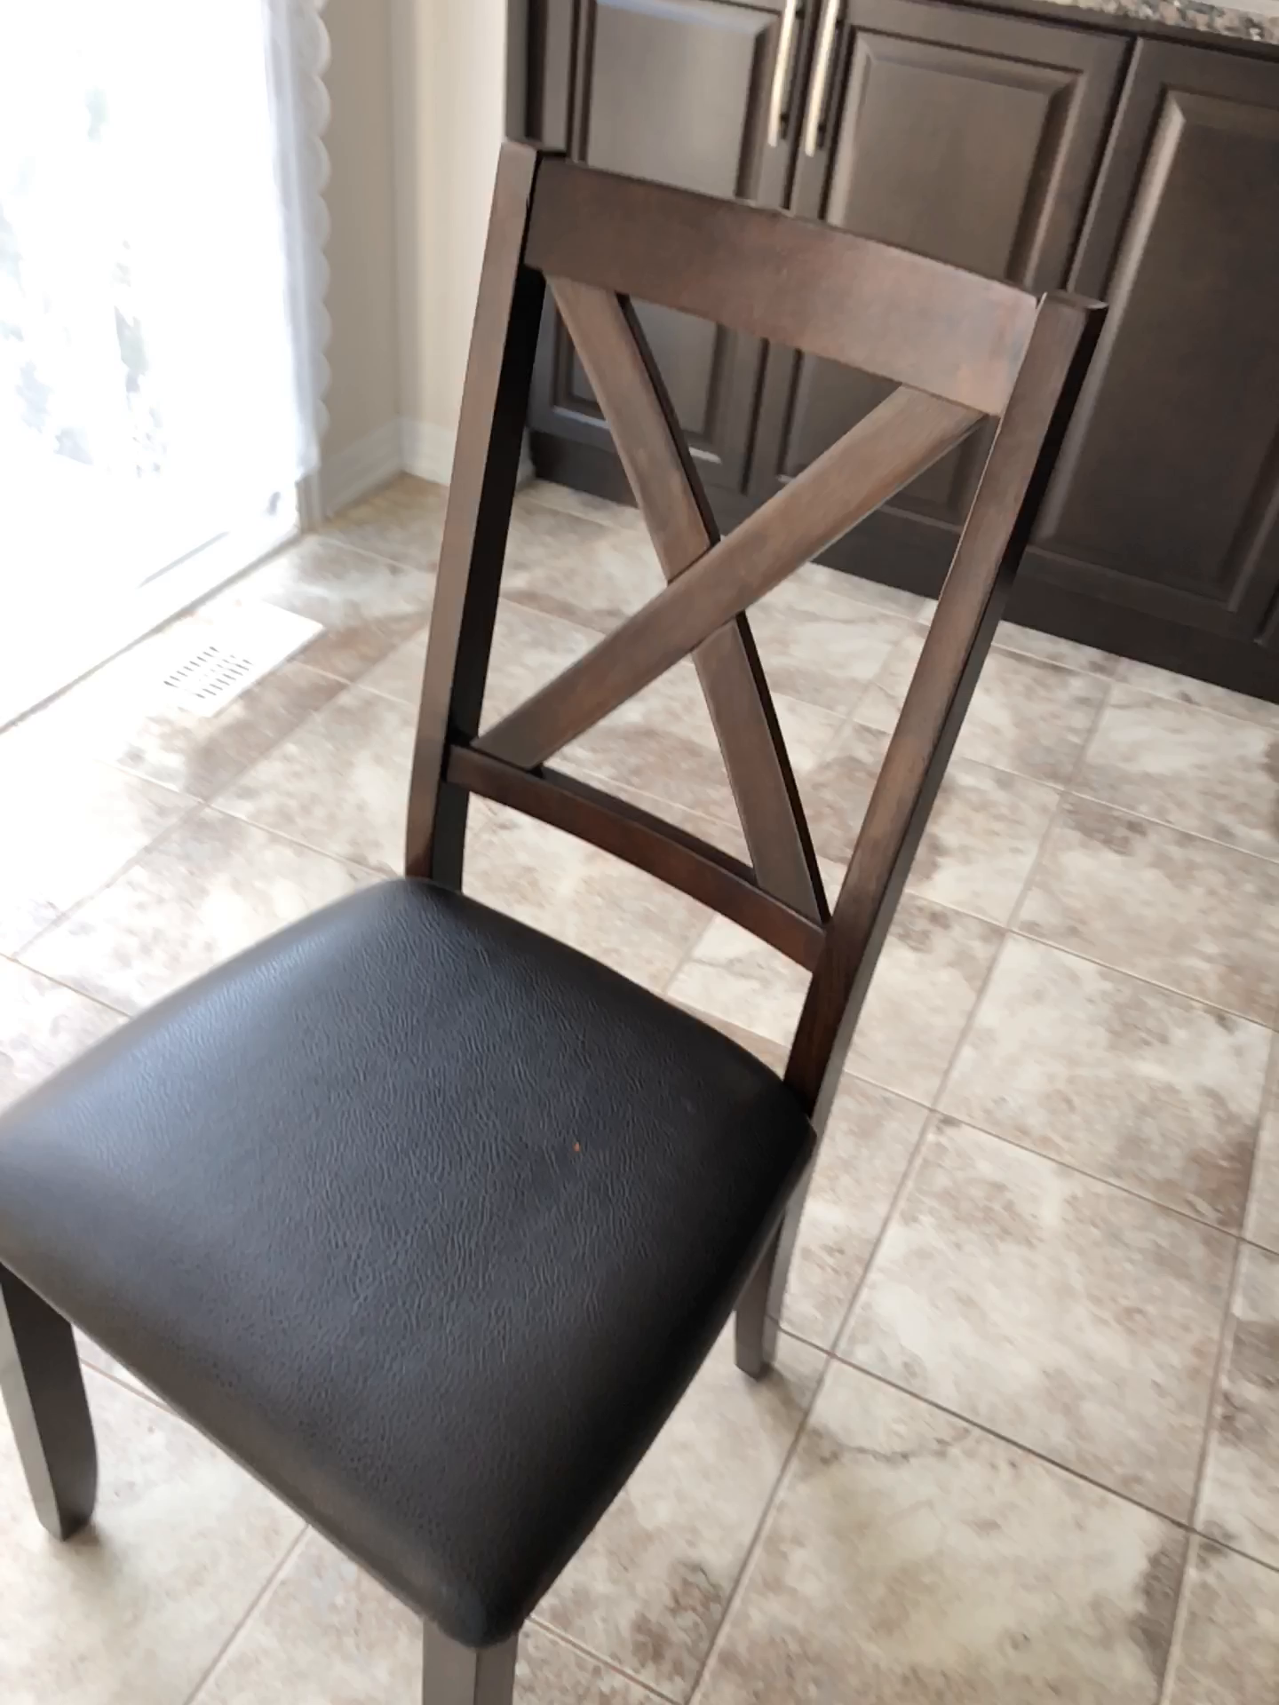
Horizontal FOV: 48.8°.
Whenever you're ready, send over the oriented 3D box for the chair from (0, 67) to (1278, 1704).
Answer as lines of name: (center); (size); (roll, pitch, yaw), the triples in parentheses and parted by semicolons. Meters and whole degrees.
chair: (-0.084, 0.105, 0.907); (0.481, 0.936, 0.602); (27, 44, 23)
